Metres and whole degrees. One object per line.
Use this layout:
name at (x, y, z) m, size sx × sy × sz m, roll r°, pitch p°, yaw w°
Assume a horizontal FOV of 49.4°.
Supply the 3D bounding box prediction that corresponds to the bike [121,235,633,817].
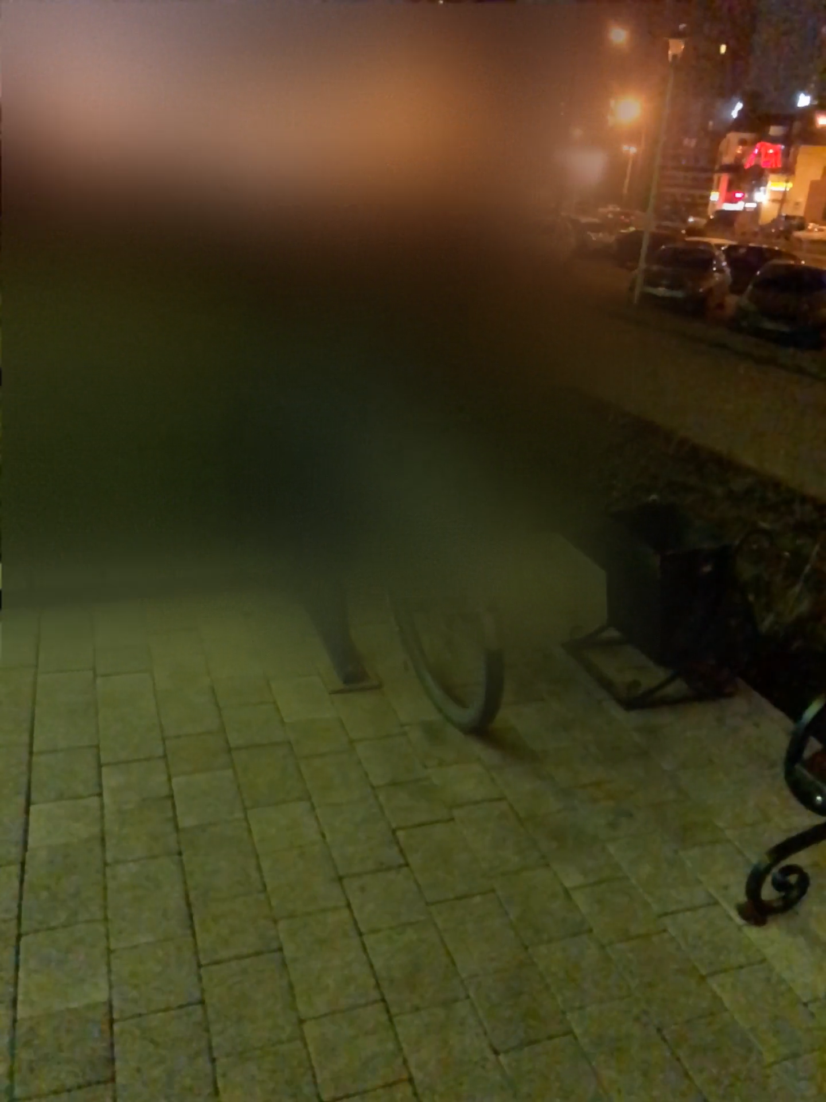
bike at (-0.285, -0.254, 2.708) m, size 0.680 × 1.046 × 1.724 m, roll -8°, pitch 28°, yaw -28°
